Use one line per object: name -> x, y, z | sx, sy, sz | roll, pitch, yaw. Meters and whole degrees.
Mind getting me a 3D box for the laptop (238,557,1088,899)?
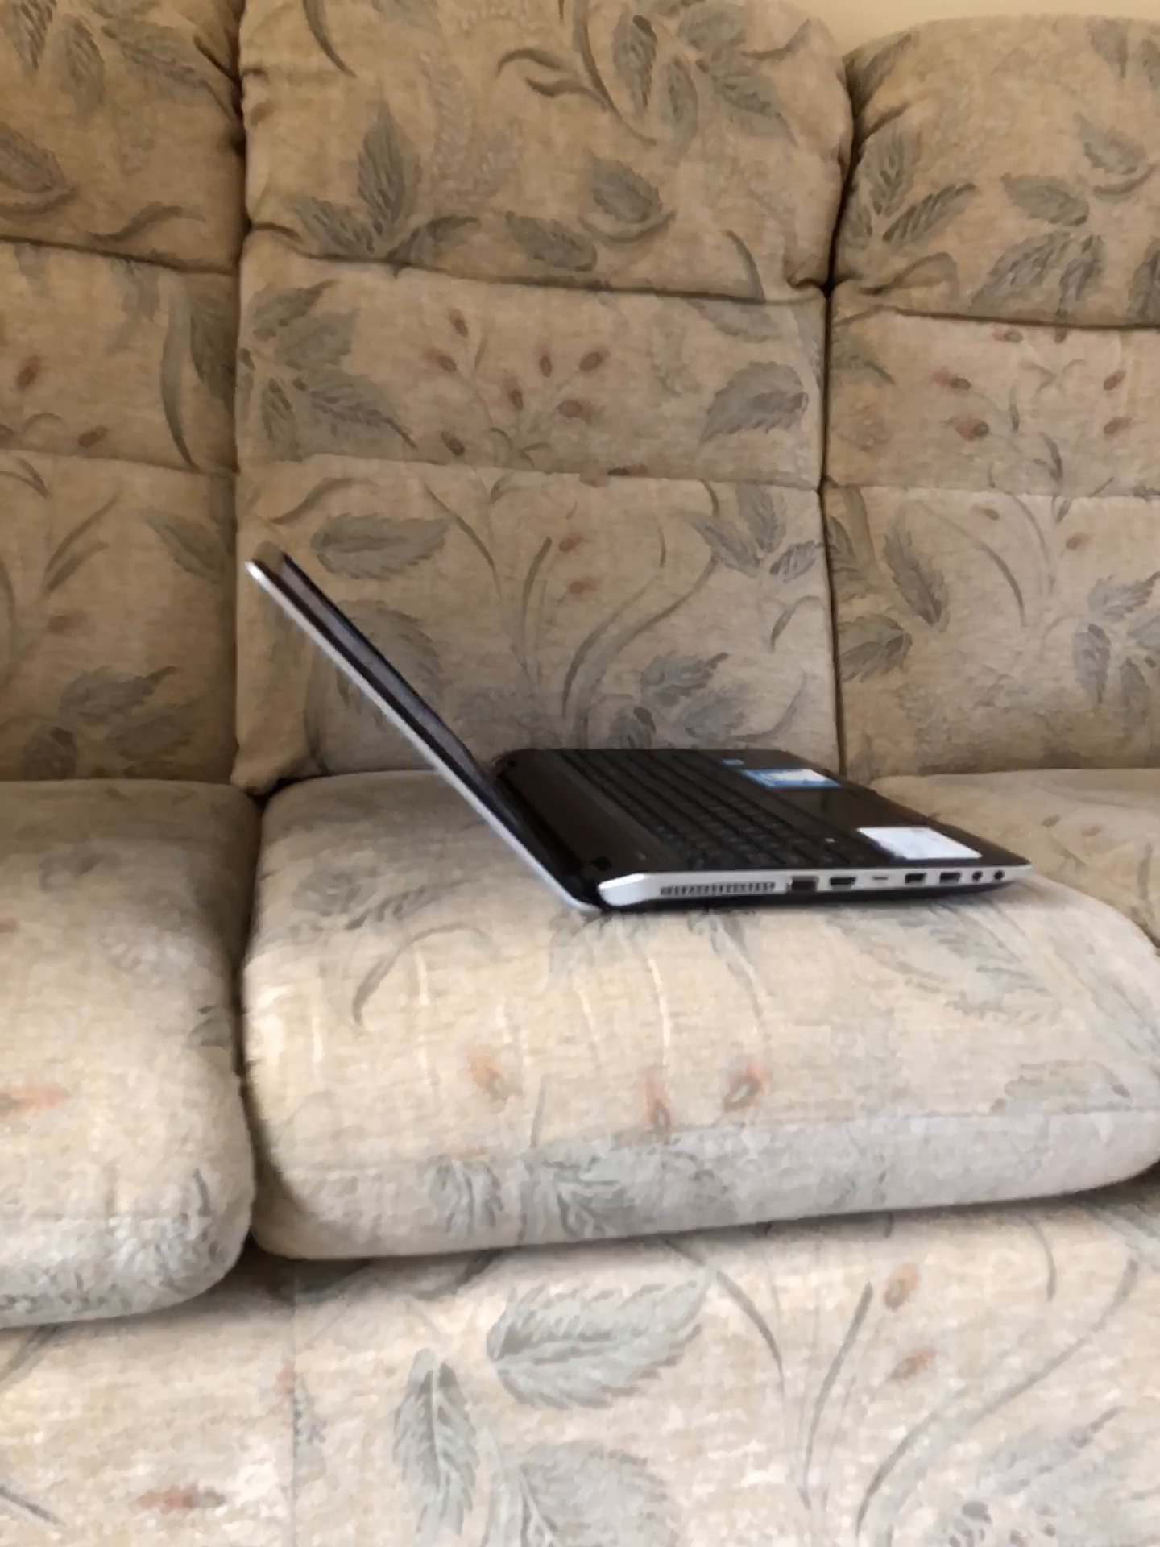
laptop -> 0.015, -0.051, 0.800 | 0.410, 0.151, 0.397 | 0, 11, -13
